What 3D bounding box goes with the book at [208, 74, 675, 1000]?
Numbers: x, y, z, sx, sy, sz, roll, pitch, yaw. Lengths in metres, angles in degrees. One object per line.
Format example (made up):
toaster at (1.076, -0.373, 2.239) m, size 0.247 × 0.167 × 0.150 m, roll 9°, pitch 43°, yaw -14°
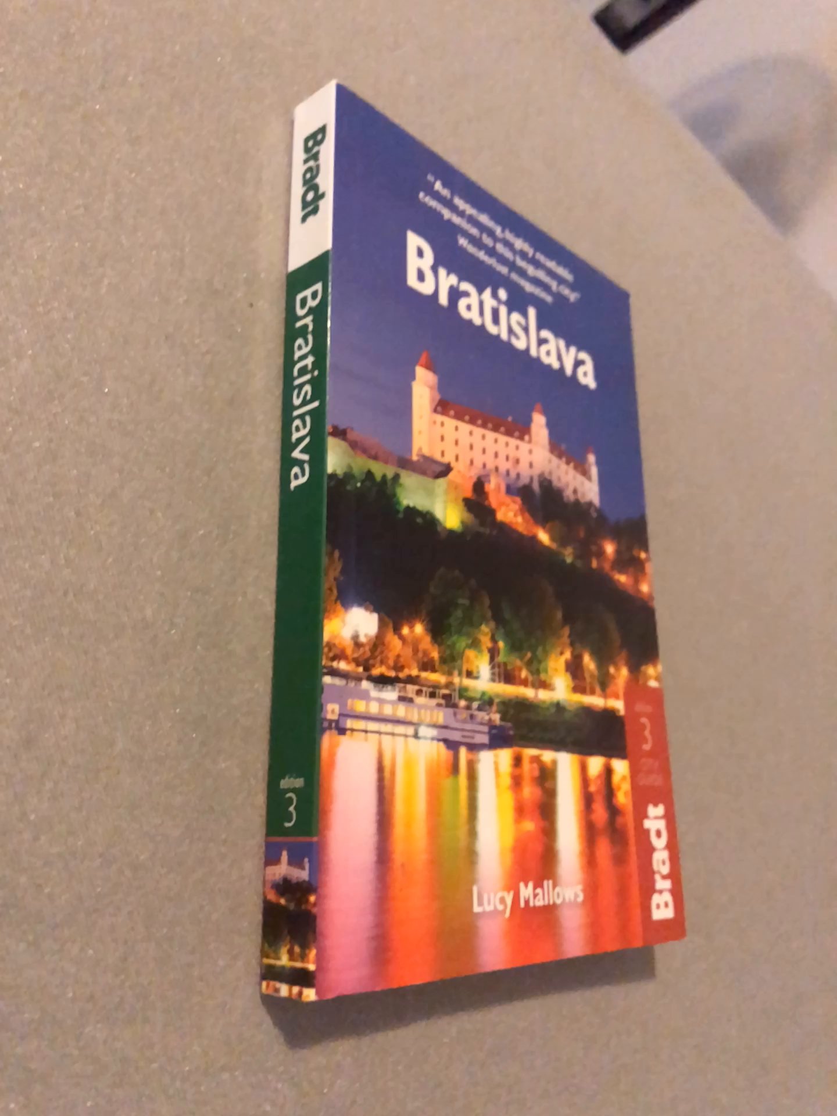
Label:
book at (0.015, -0.003, 0.259) m, size 0.141 × 0.020 × 0.210 m, roll 14°, pitch 69°, yaw -42°
